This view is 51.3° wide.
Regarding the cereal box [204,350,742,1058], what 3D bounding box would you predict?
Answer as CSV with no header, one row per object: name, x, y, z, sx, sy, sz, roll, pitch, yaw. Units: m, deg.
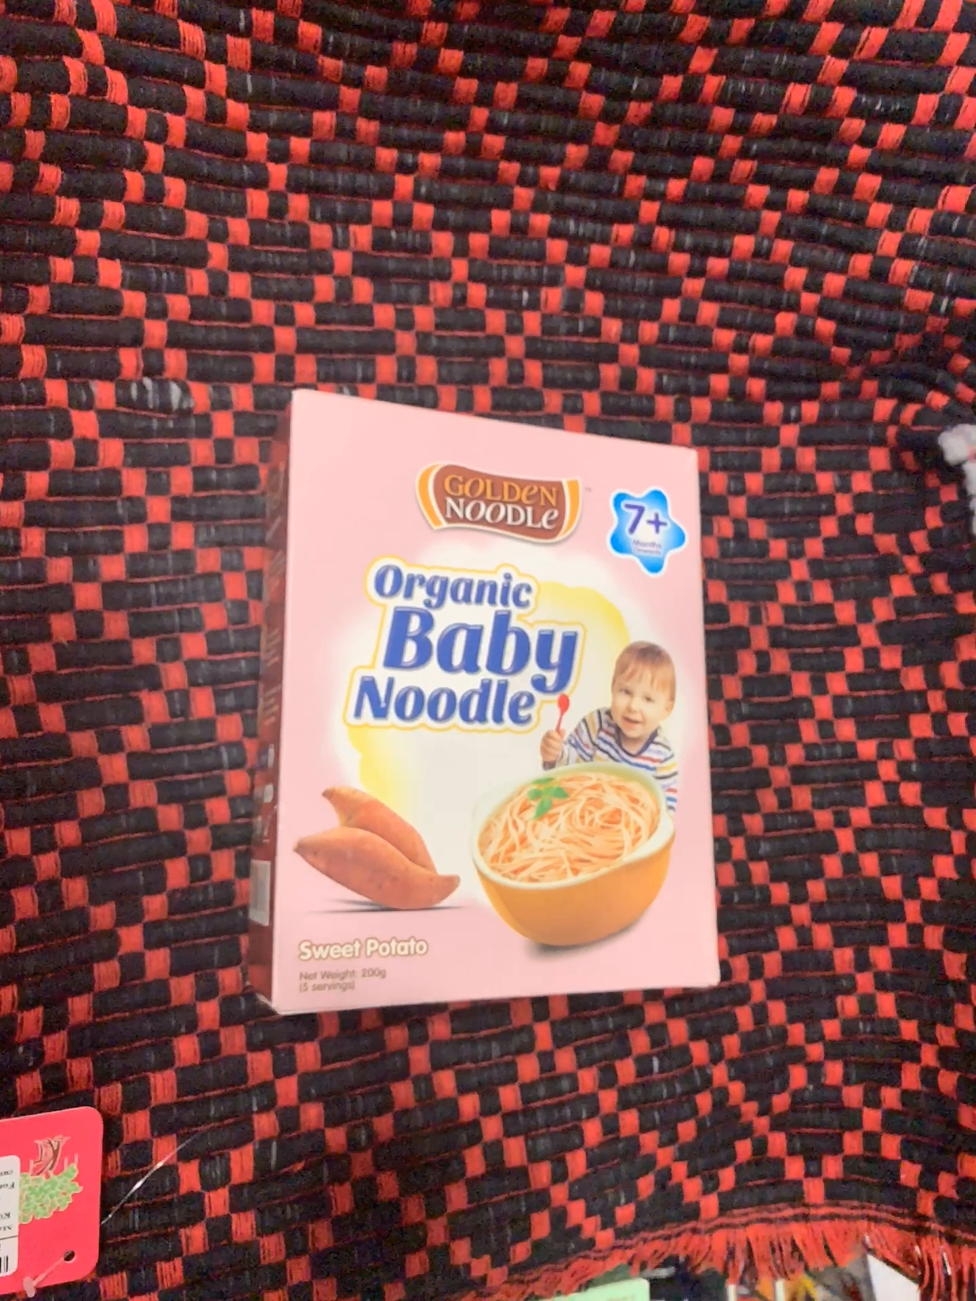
cereal box,-0.003,0.015,0.275,0.130,0.050,0.160,4,81,-20
